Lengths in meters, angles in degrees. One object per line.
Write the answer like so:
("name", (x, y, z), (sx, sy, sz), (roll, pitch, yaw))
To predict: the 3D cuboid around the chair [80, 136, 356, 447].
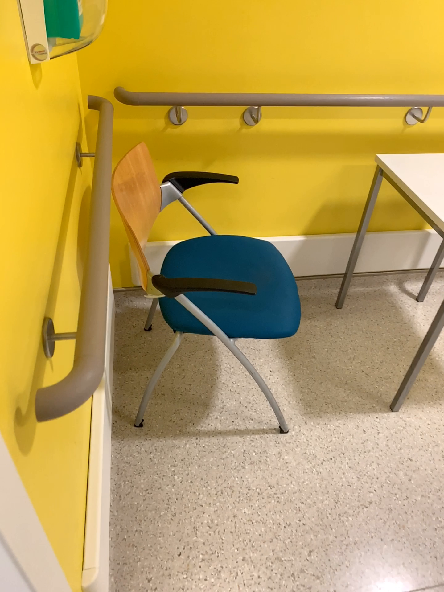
("chair", (-0.033, -0.001, 1.428), (0.589, 0.779, 0.576), (1, 40, -4))
